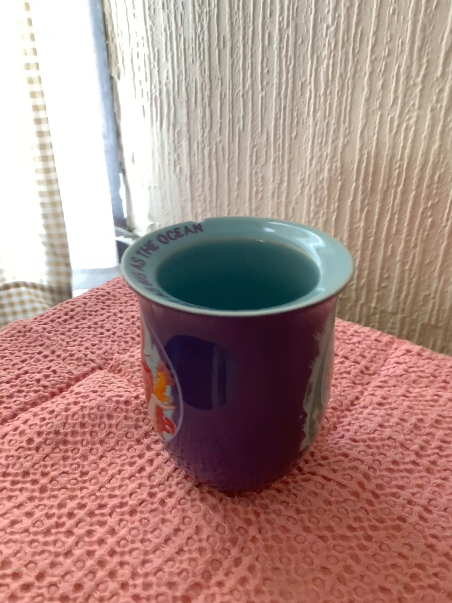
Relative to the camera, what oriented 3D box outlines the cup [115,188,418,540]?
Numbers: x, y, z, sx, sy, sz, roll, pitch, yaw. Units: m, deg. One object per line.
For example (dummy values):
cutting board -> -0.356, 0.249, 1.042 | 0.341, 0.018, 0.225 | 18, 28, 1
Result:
cup -> 0.004, 0.016, 0.235 | 0.100, 0.099, 0.141 | -5, 31, -8
